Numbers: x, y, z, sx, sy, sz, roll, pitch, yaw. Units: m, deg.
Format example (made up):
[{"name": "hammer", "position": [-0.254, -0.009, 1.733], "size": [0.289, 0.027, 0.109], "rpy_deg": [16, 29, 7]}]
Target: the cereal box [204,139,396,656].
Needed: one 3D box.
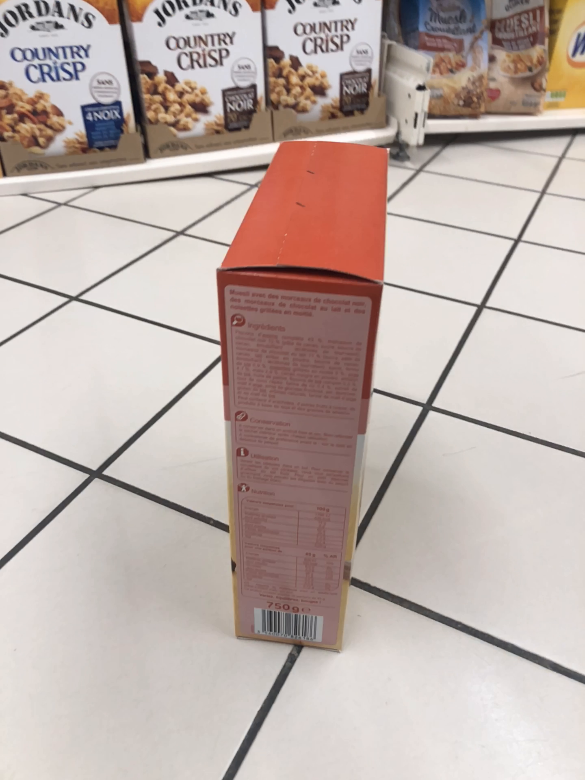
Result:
[{"name": "cereal box", "position": [0.008, 0.003, 0.372], "size": [0.070, 0.238, 0.171], "rpy_deg": [5, 36, 4]}]
